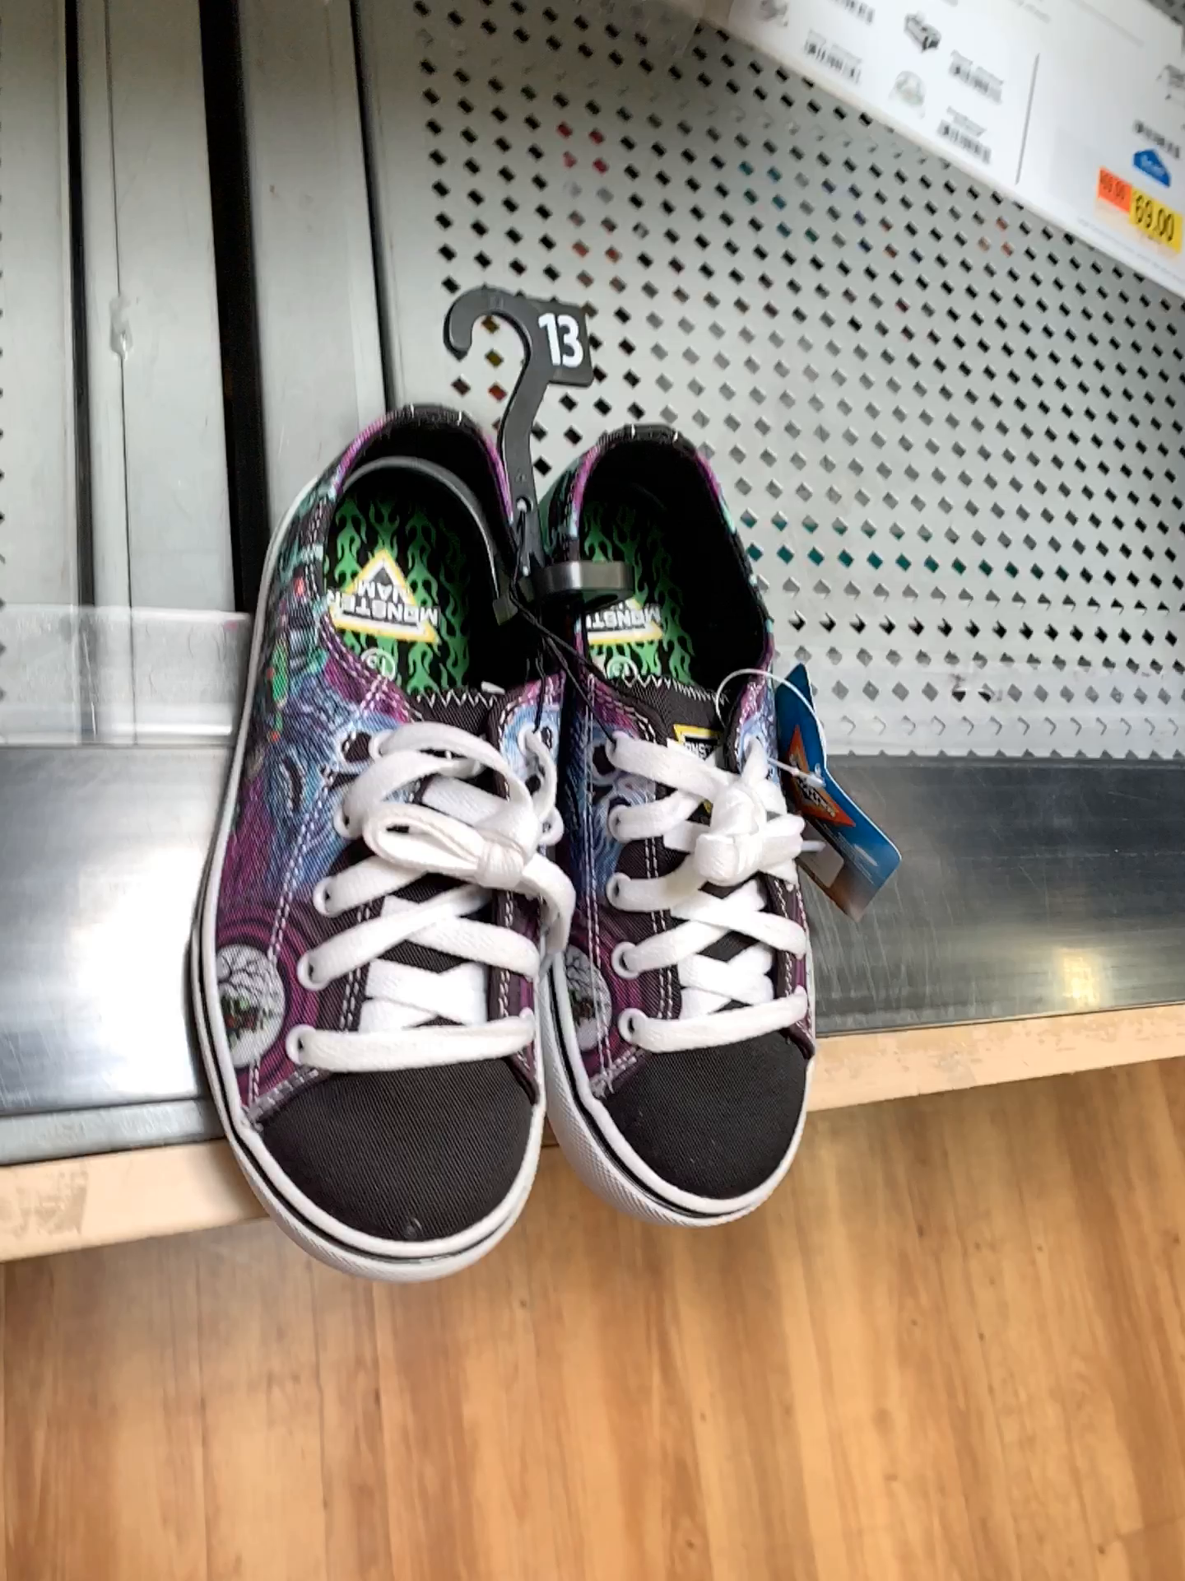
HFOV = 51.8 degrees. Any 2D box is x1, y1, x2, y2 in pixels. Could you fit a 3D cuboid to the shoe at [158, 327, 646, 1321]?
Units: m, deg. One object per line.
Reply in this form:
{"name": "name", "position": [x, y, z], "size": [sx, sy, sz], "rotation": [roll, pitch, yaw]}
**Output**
{"name": "shoe", "position": [-0.048, 0.008, 0.297], "size": [0.091, 0.073, 0.208], "rotation": [5, 73, -22]}

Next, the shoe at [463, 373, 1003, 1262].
{"name": "shoe", "position": [0.030, 0.005, 0.333], "size": [0.089, 0.073, 0.213], "rotation": [-2, 76, -23]}
